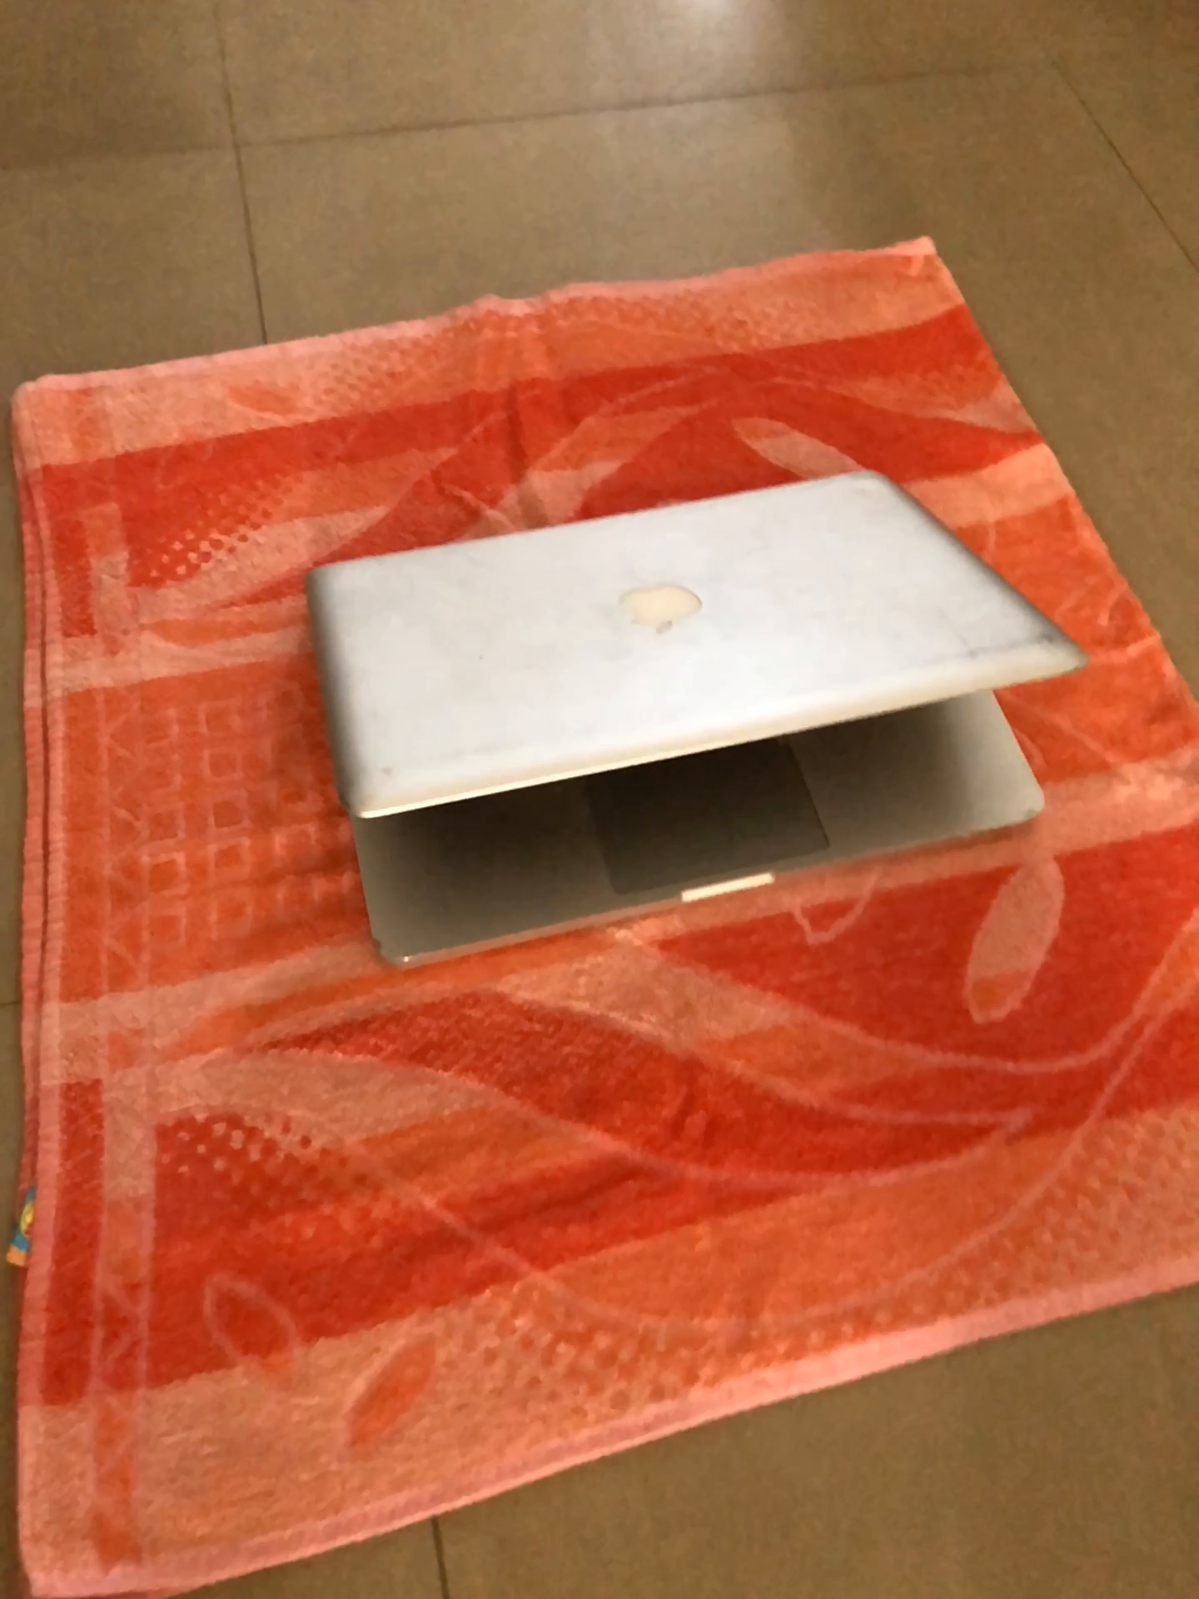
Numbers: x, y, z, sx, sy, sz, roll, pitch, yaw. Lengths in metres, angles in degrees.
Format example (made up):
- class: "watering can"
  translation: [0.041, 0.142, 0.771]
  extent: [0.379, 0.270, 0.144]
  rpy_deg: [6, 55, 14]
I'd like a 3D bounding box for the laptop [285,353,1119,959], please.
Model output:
- class: "laptop"
  translation: [0.033, -0.077, 0.605]
  extent: [0.310, 0.086, 0.223]
  rpy_deg: [-11, 59, -10]
